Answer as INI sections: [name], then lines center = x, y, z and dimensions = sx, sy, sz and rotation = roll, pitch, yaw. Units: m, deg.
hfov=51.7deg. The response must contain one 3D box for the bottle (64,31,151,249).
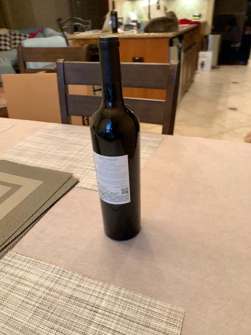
[bottle]
center = -0.012, -0.028, 0.412
dimensions = 0.083, 0.328, 0.090
rotation = -2, 30, 1
